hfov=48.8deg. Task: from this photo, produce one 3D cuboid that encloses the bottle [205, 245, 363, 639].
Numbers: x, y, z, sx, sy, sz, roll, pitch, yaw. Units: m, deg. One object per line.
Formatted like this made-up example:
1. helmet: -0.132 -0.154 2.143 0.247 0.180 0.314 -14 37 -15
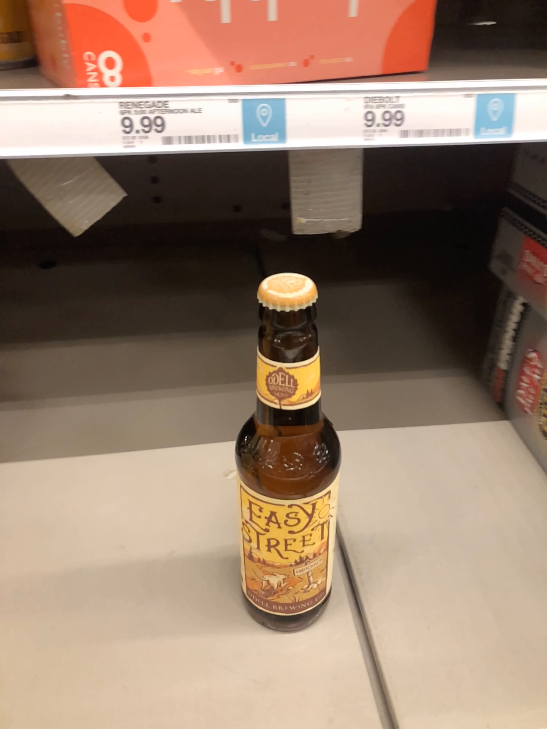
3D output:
1. bottle: 0.008 0.054 0.350 0.065 0.229 0.070 0 33 0
